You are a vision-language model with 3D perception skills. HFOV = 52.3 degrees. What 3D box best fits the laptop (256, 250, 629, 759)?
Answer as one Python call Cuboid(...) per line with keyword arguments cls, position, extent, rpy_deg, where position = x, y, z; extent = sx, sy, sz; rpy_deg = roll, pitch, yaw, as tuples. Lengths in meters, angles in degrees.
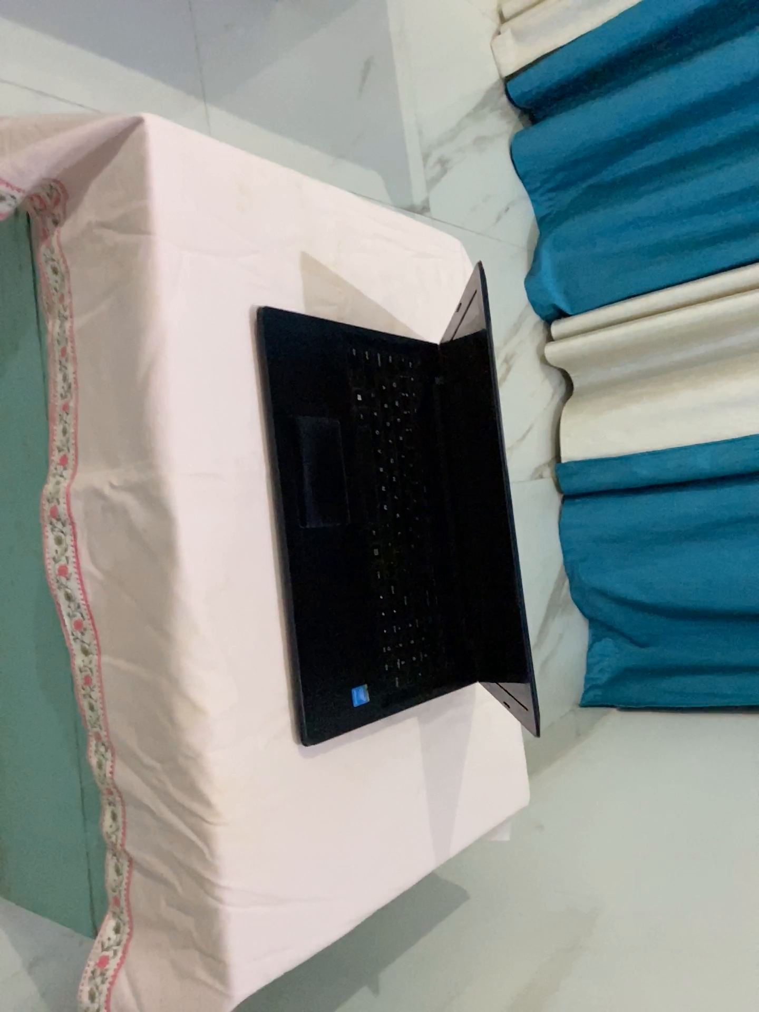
Cuboid(cls="laptop", position=(0.066, 0.001, 0.708), extent=(0.260, 0.176, 0.368), rpy_deg=(-4, 86, -50))
